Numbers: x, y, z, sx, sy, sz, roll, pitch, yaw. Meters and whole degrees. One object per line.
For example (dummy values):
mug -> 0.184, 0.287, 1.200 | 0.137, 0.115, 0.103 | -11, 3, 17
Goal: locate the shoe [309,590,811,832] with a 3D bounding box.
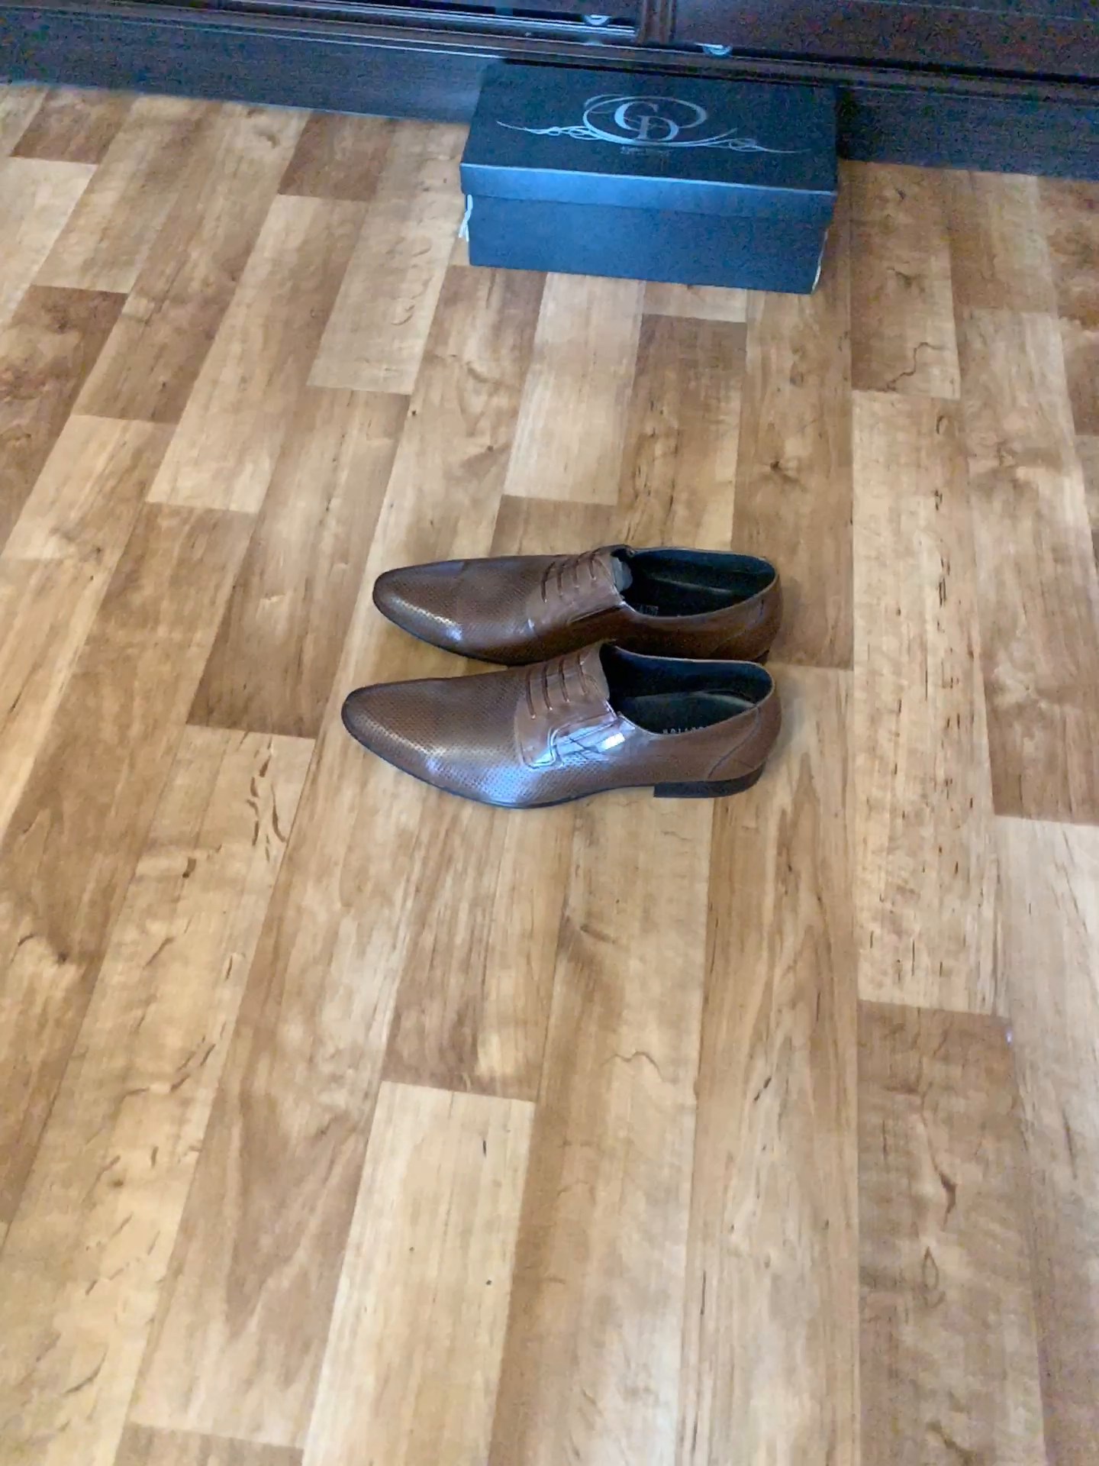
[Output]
shoe -> 0.009, -0.014, 0.762 | 0.310, 0.100, 0.110 | 3, 59, 2

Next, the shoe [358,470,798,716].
shoe -> 0.023, -0.103, 0.839 | 0.300, 0.120, 0.100 | 6, 59, 3
